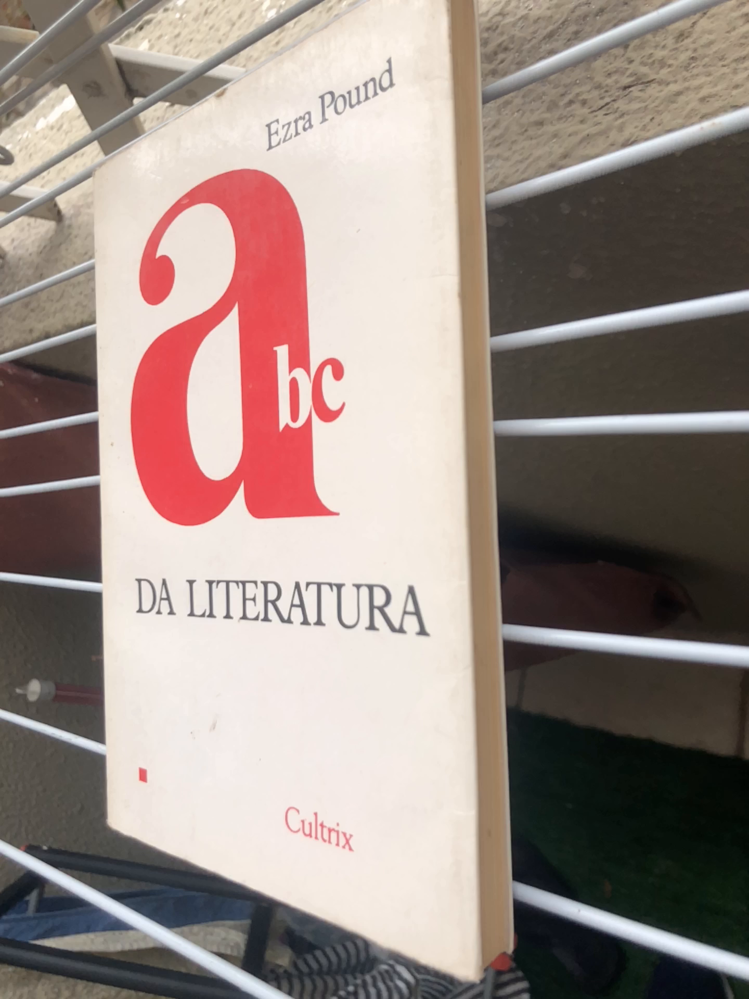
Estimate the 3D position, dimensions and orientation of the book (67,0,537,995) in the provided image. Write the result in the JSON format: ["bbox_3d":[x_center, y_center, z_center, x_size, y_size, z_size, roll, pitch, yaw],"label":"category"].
[{"bbox_3d":[-0.030,-0.003,0.203,0.141,0.017,0.187,-4,88,43],"label":"book"}]
